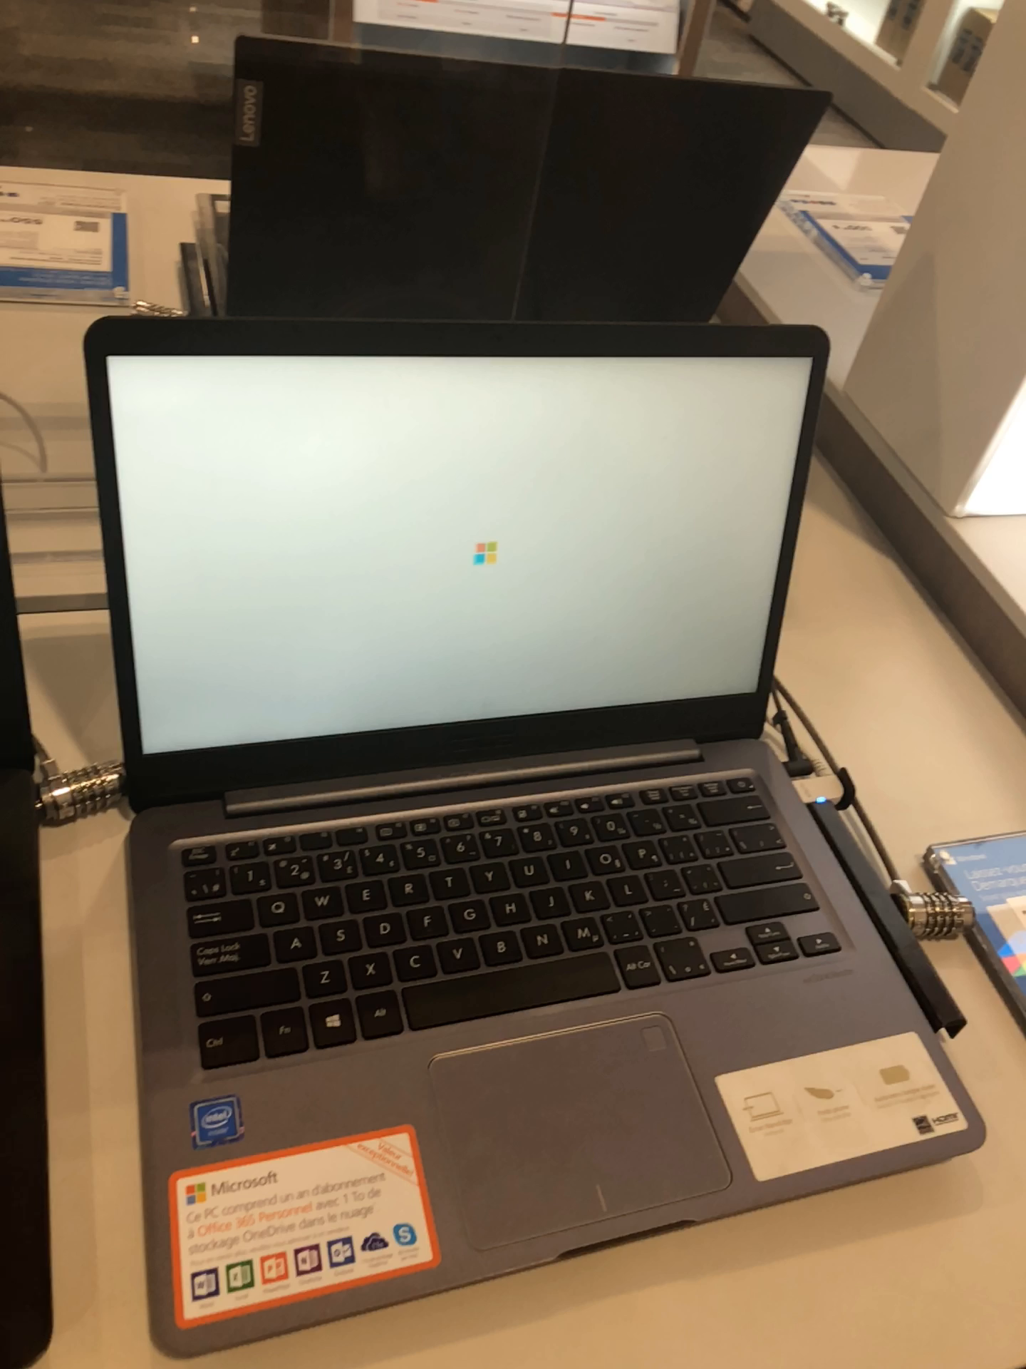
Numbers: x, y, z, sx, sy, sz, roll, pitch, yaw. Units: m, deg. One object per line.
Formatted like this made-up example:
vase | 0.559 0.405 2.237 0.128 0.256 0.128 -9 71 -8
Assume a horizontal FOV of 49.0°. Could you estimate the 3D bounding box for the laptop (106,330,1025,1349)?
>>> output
laptop | 0.019 0.025 0.441 0.316 0.196 0.292 -5 47 -18
